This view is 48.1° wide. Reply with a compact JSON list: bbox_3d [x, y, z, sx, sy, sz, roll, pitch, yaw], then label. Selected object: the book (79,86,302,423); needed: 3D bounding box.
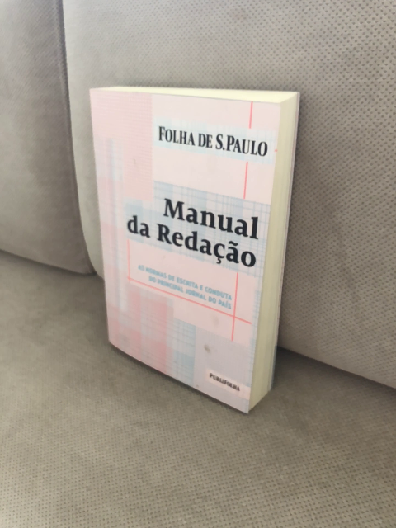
[{"bbox_3d":[-0.016,-0.014,0.349,0.167,0.228,0.040,18,28,35],"label":"book"}]
